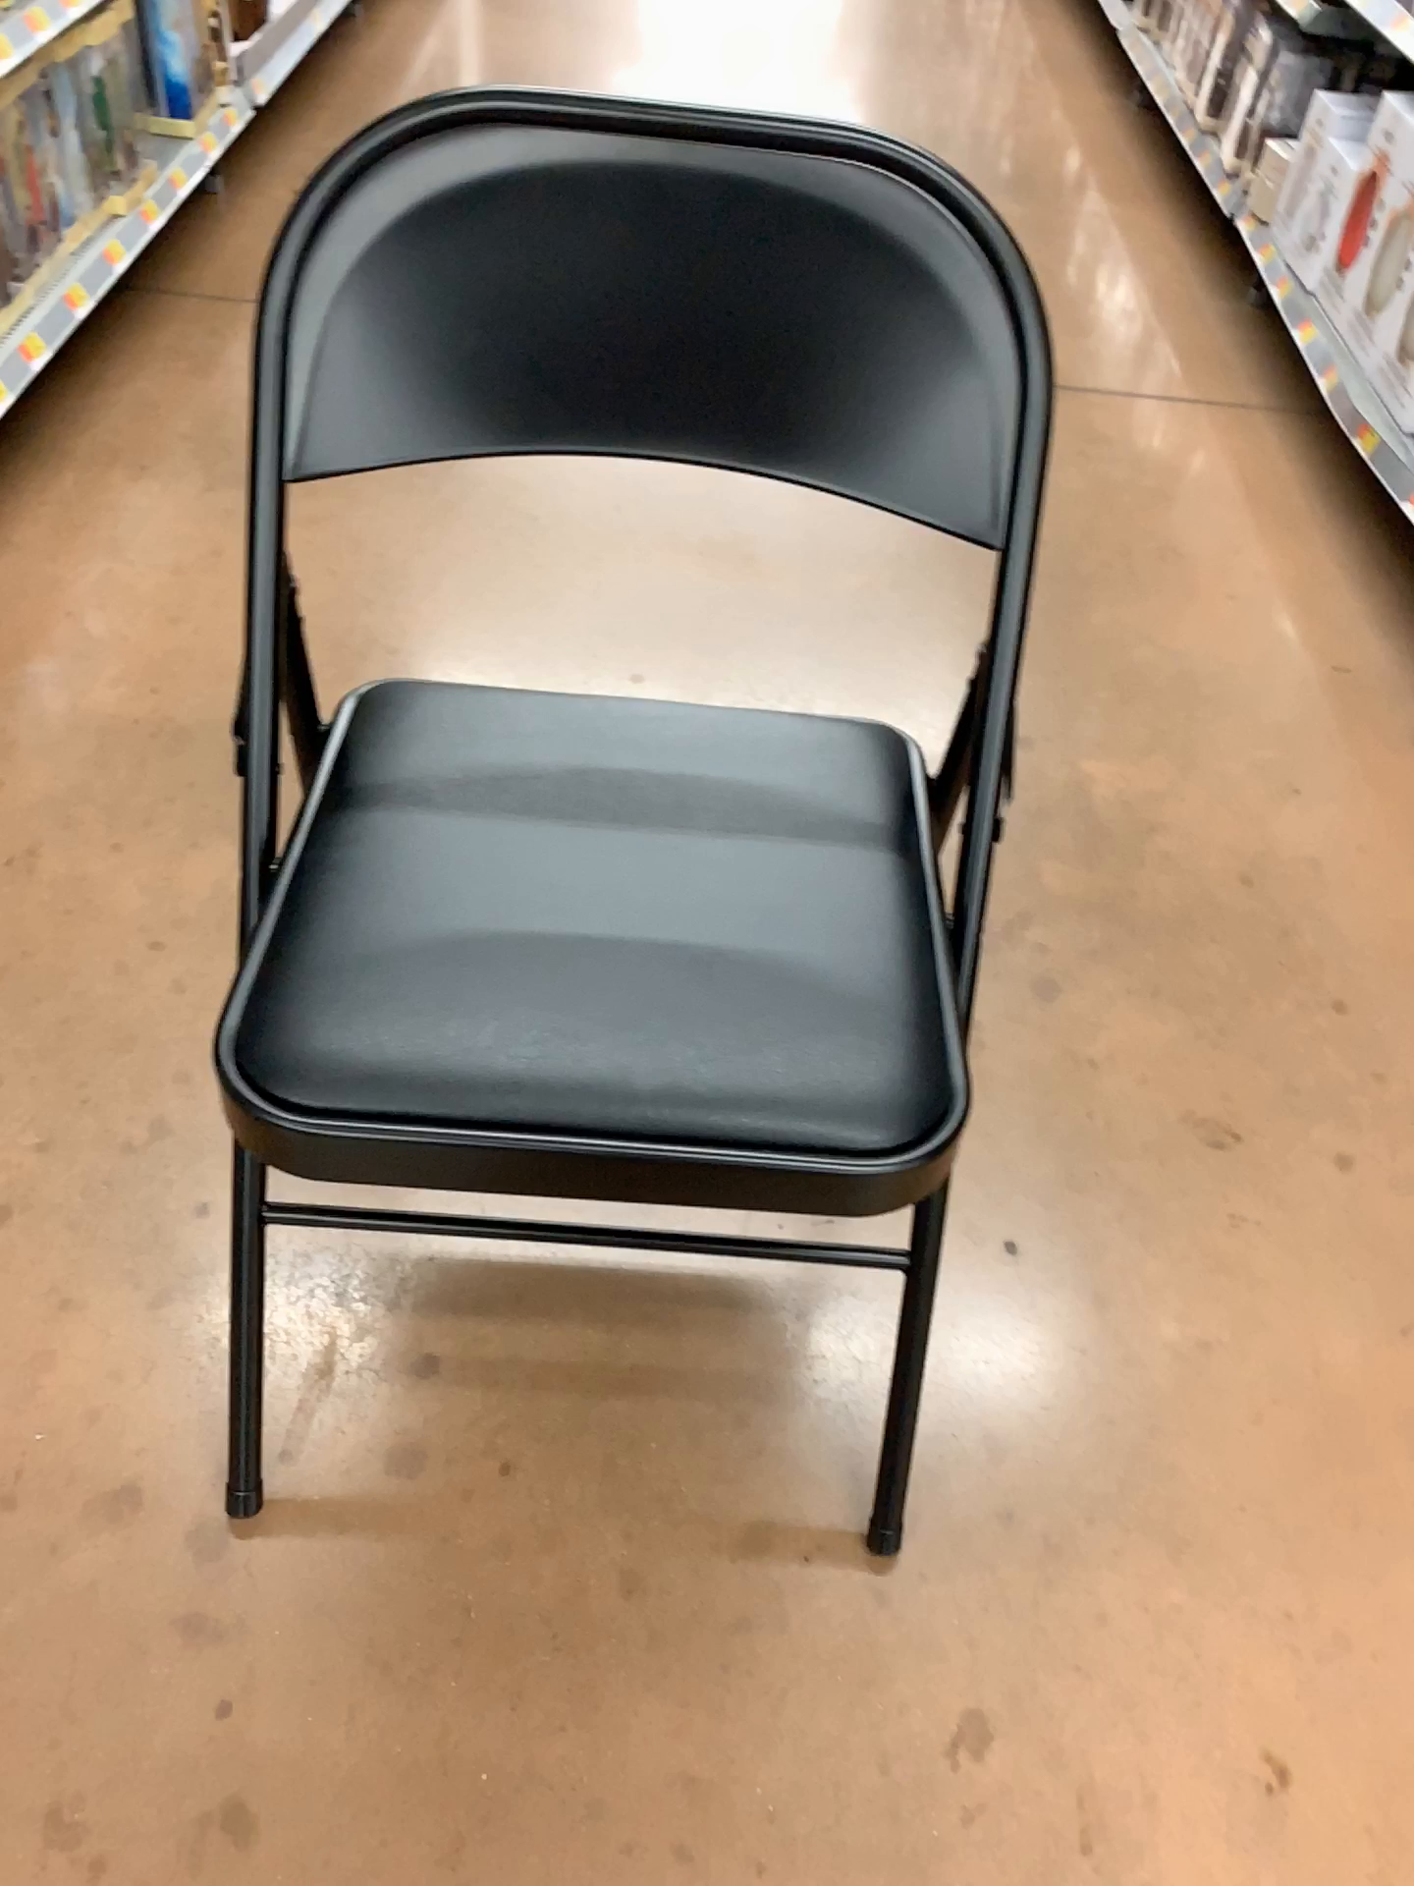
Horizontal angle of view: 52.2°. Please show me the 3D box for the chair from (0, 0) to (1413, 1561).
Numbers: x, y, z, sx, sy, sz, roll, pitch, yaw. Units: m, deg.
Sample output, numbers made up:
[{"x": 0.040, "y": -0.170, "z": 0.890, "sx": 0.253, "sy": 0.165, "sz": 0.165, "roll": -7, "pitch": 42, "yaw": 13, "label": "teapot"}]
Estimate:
[{"x": -0.056, "y": -0.044, "z": 0.809, "sx": 0.470, "sy": 0.697, "sz": 0.472, "roll": 4, "pitch": 45, "yaw": -3, "label": "chair"}]
